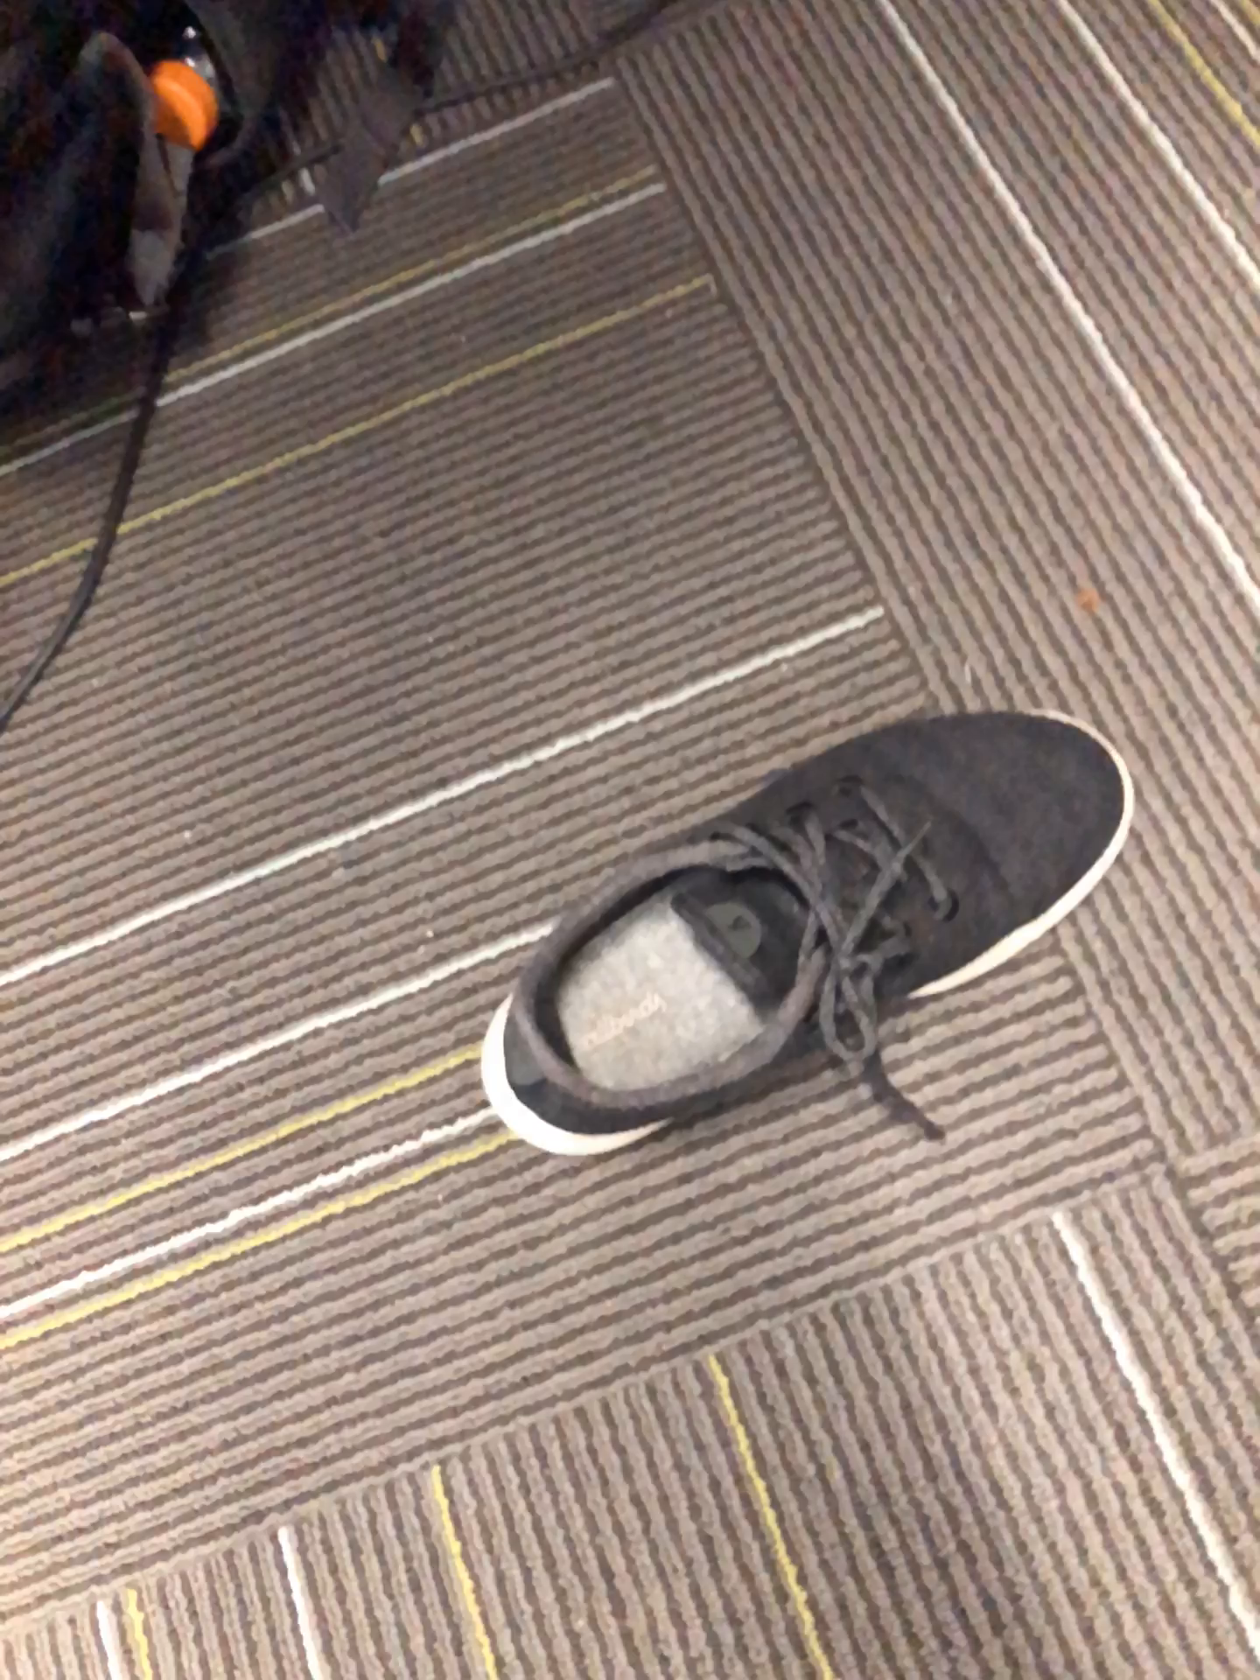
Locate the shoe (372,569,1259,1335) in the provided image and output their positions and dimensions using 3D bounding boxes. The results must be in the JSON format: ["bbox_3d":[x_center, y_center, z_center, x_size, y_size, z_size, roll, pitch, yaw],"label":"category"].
[{"bbox_3d":[0.067,0.040,0.506,0.280,0.060,0.140,-31,68,-1],"label":"shoe"}]
